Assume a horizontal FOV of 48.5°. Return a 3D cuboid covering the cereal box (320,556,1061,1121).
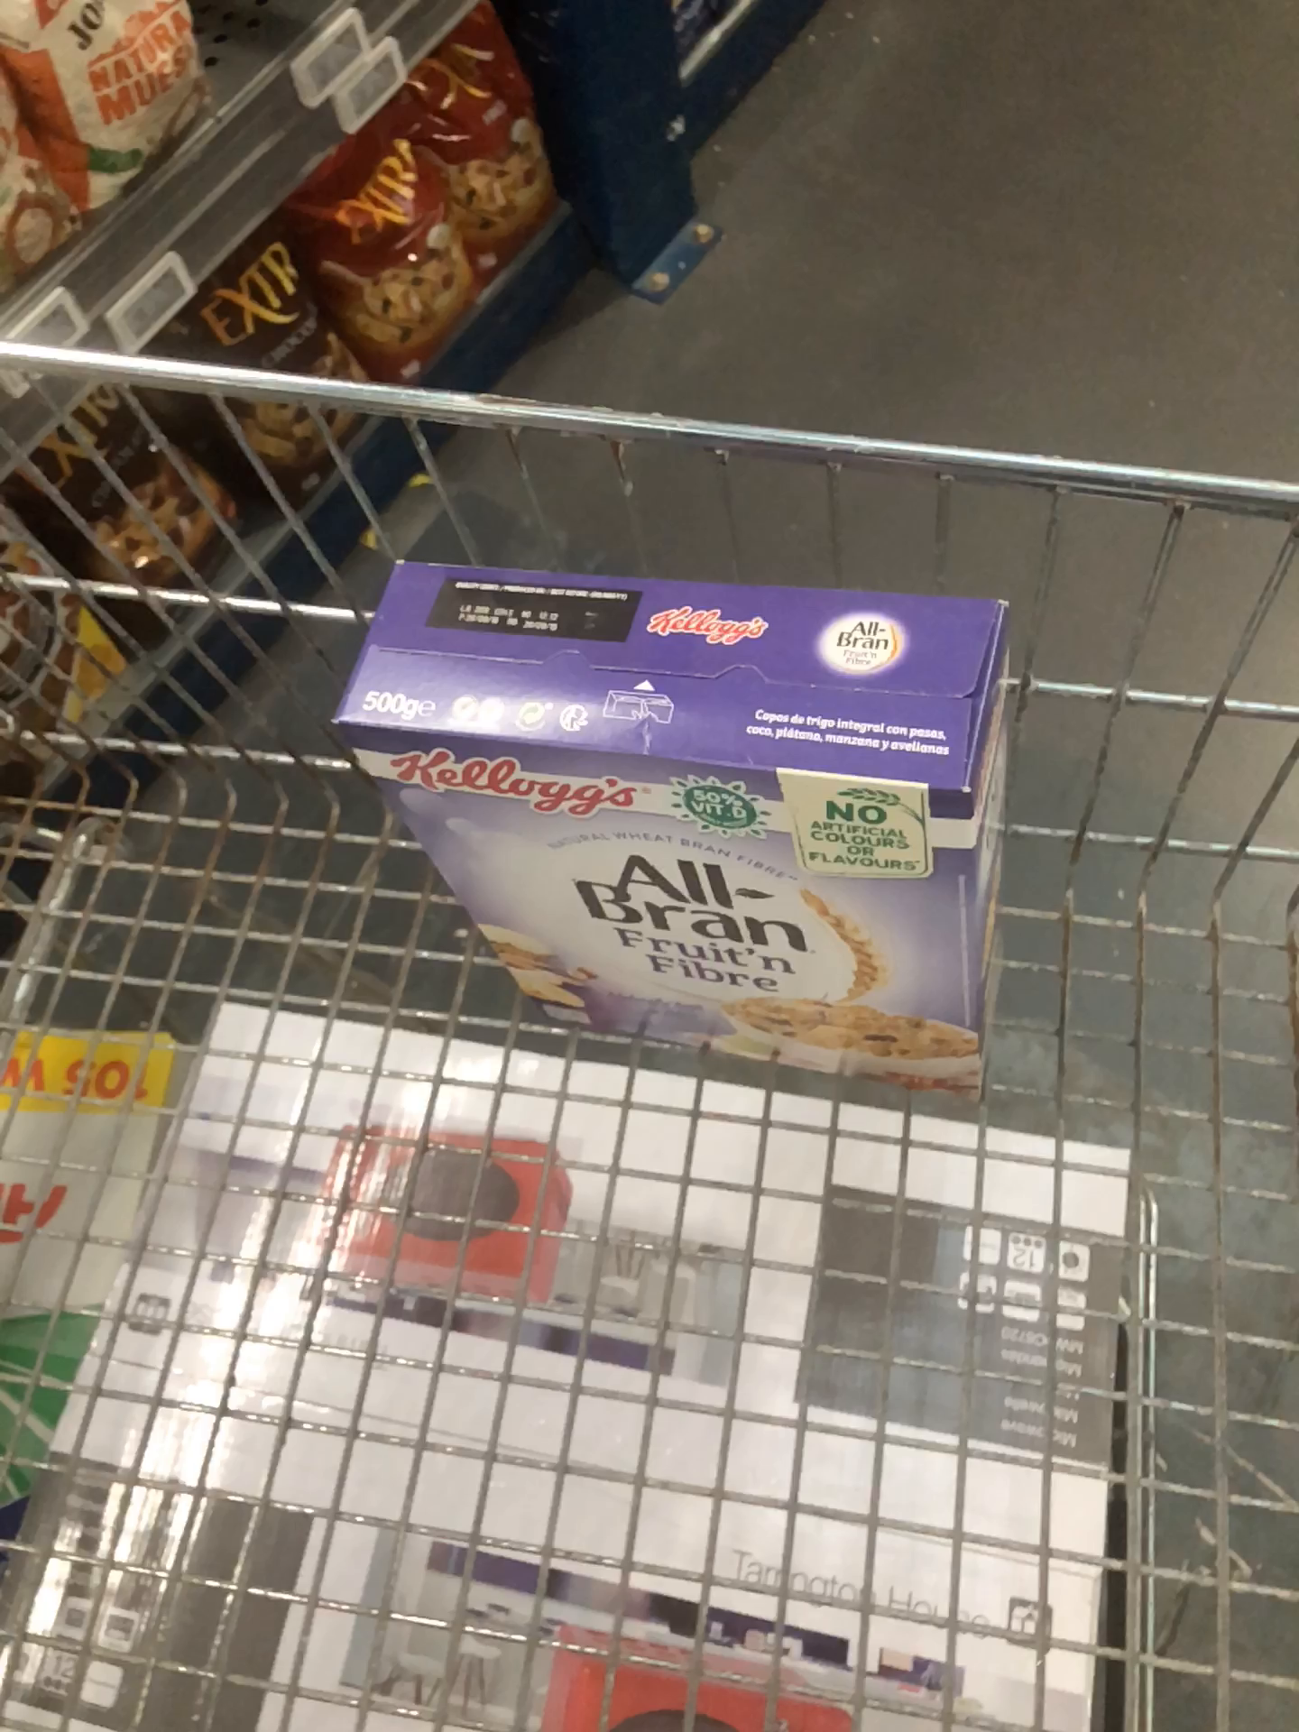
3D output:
[{"bbox_3d":[0.032,0.002,0.483,0.190,0.229,0.070,7,65,17],"label":"cereal box"}]
